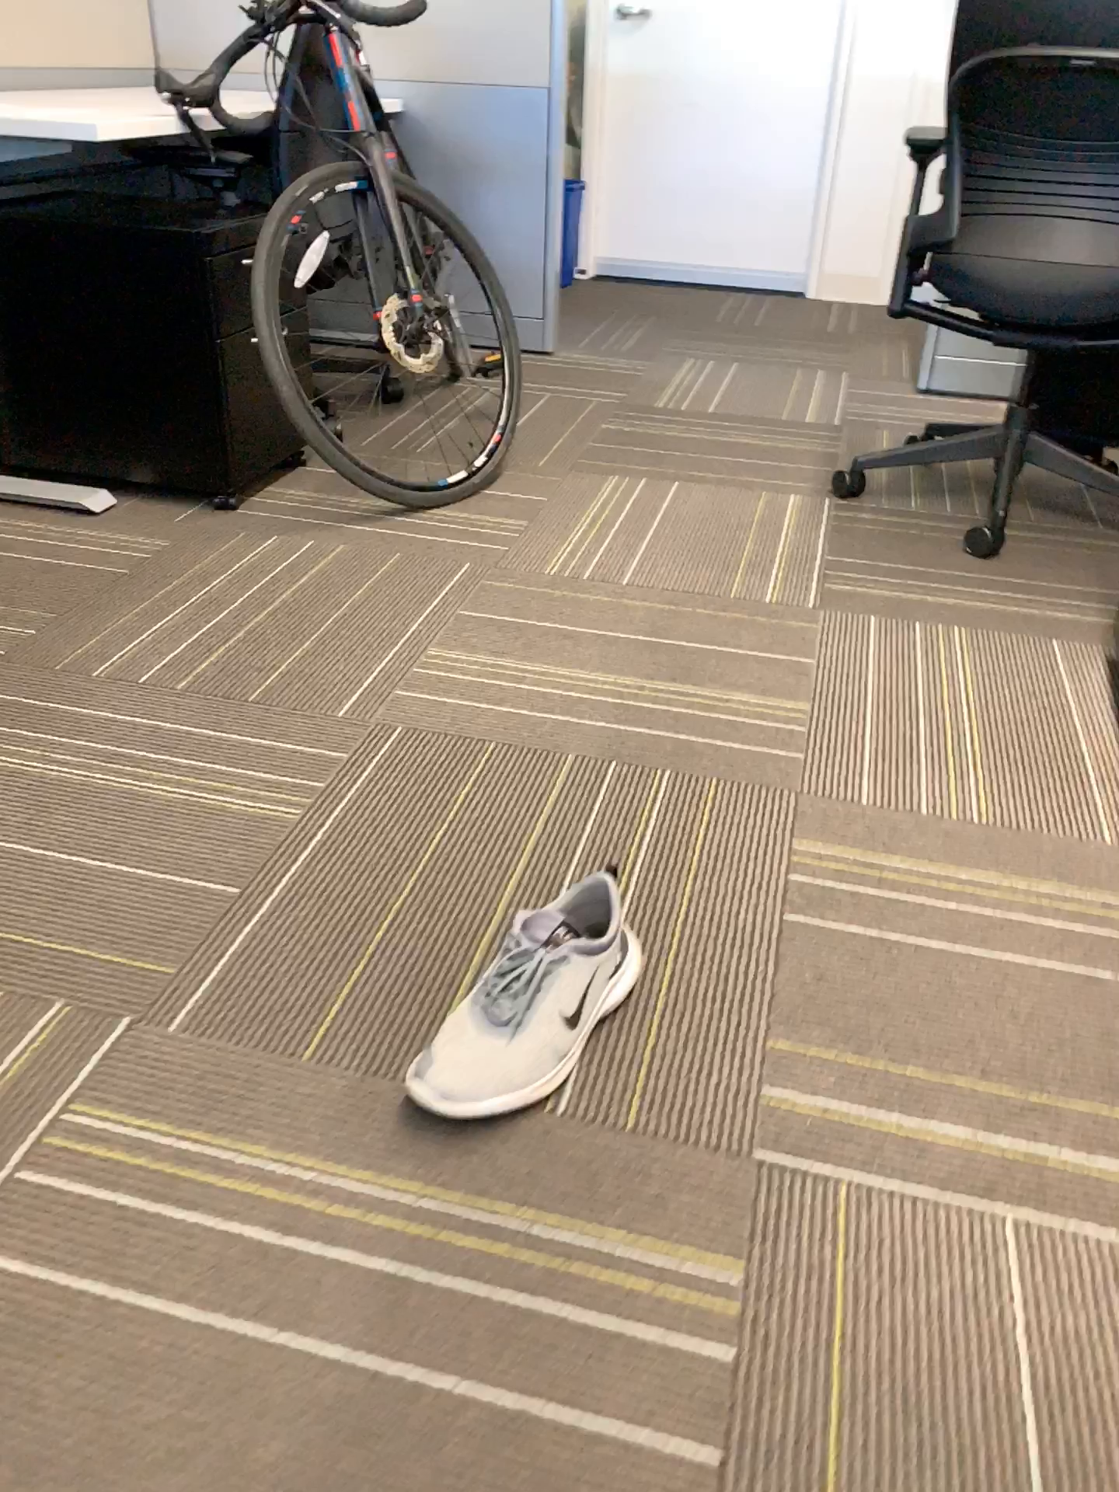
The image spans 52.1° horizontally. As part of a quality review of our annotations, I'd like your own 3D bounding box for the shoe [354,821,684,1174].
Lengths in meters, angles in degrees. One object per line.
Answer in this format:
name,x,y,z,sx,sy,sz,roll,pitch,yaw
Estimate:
shoe,-0.027,0.225,1.111,0.160,0.109,0.331,19,35,24
